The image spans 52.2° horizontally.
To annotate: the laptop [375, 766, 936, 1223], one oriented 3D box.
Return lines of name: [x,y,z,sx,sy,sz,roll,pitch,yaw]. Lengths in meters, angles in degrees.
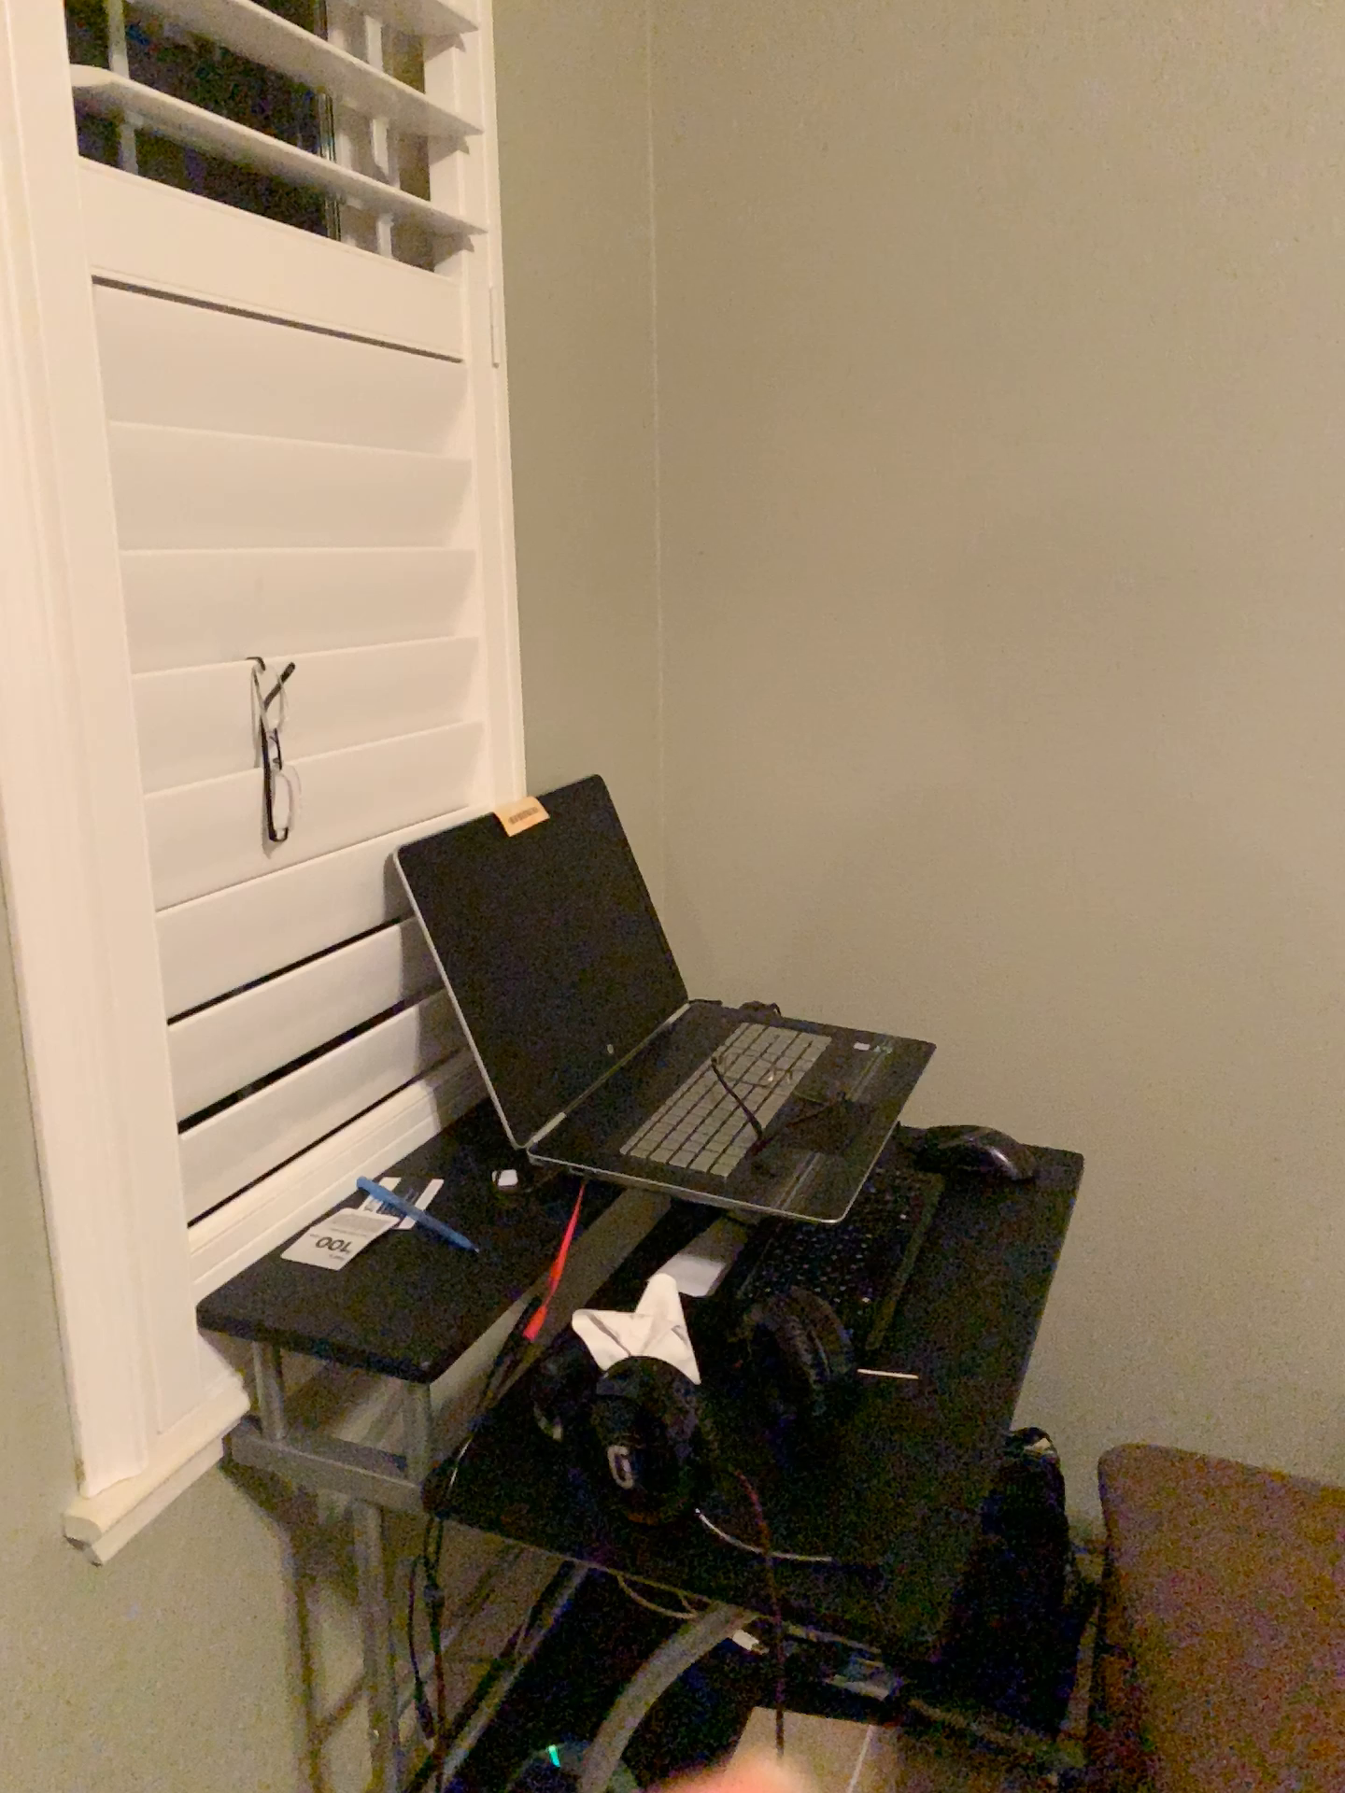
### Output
laptop: [0.012,0.058,1.364,0.418,0.264,0.434,7,15,20]
